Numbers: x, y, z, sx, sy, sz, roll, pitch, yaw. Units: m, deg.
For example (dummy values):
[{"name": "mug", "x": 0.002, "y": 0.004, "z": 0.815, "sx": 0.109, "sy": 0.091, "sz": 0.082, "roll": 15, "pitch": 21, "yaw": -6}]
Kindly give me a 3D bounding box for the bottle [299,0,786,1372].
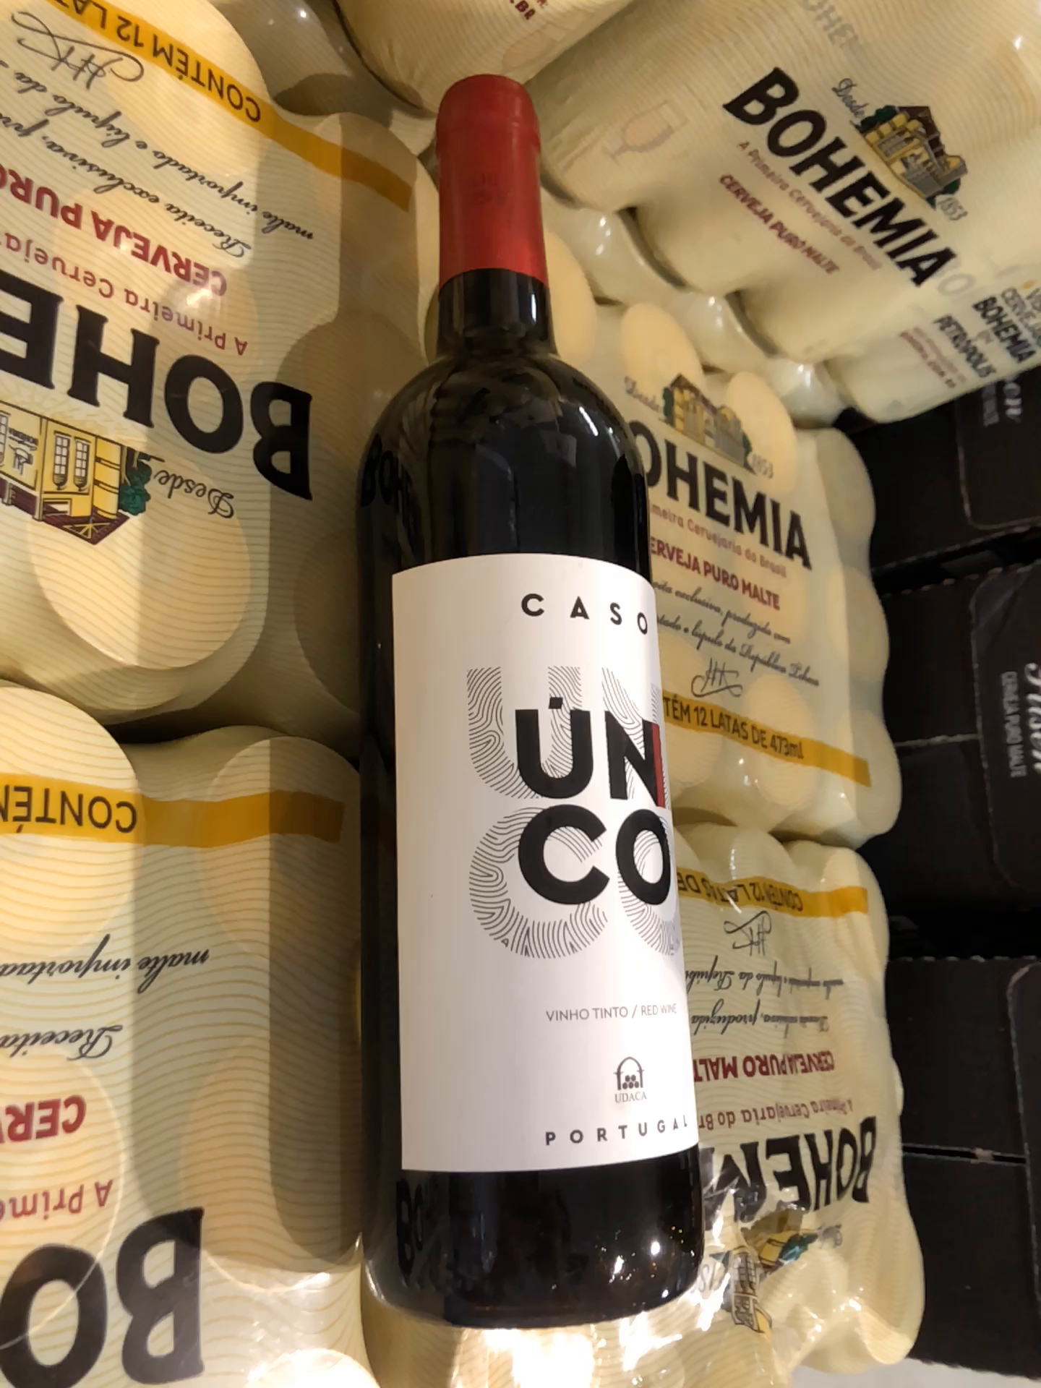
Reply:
[{"name": "bottle", "x": 0.000, "y": -0.032, "z": 0.290, "sx": 0.080, "sy": 0.070, "sz": 0.330, "roll": 12, "pitch": 71, "yaw": -45}]
